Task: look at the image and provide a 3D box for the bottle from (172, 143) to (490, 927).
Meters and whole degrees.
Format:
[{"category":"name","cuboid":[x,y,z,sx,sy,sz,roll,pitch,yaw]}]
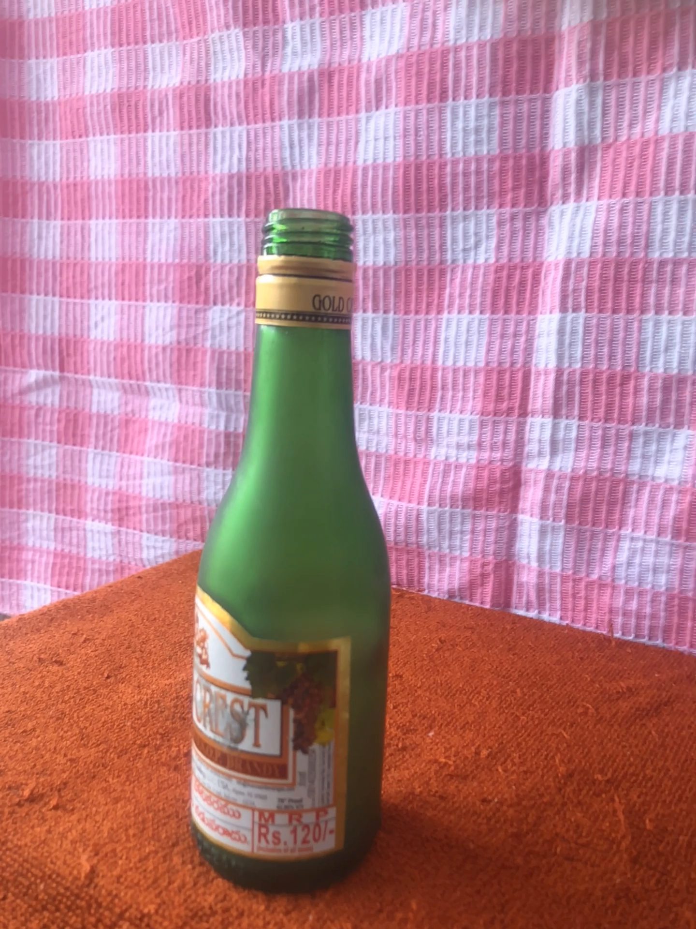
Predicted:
[{"category":"bottle","cuboid":[-0.012,0.016,0.198,0.060,0.170,0.060,3,12,-1]}]
